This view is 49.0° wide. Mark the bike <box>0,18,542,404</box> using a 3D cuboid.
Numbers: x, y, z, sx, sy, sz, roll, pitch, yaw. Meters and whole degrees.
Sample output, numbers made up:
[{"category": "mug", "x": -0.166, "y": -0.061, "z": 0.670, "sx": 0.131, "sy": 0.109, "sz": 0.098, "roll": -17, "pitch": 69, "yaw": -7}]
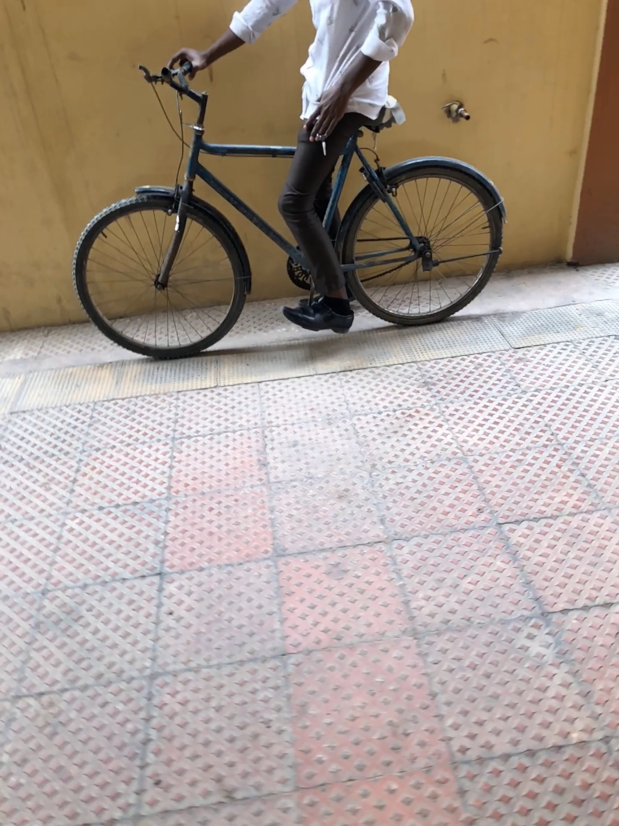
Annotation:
[{"category": "bike", "x": -0.094, "y": -0.687, "z": 2.286, "sx": 1.573, "sy": 1.024, "sz": 0.592, "roll": -5, "pitch": 34, "yaw": -4}]
